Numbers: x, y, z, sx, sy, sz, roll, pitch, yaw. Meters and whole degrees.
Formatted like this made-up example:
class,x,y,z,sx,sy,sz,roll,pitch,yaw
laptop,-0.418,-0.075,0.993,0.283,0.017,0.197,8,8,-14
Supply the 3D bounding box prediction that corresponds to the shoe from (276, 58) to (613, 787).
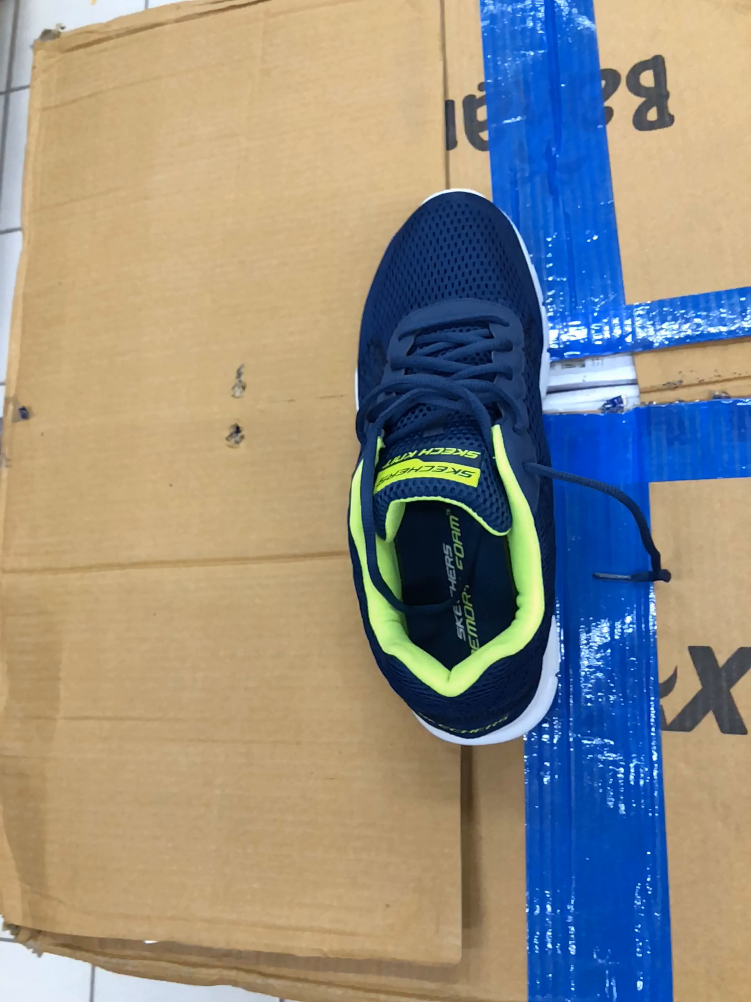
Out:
class,x,y,z,sx,sy,sz,roll,pitch,yaw
shoe,0.036,-0.027,0.396,0.110,0.130,0.290,-8,77,16
